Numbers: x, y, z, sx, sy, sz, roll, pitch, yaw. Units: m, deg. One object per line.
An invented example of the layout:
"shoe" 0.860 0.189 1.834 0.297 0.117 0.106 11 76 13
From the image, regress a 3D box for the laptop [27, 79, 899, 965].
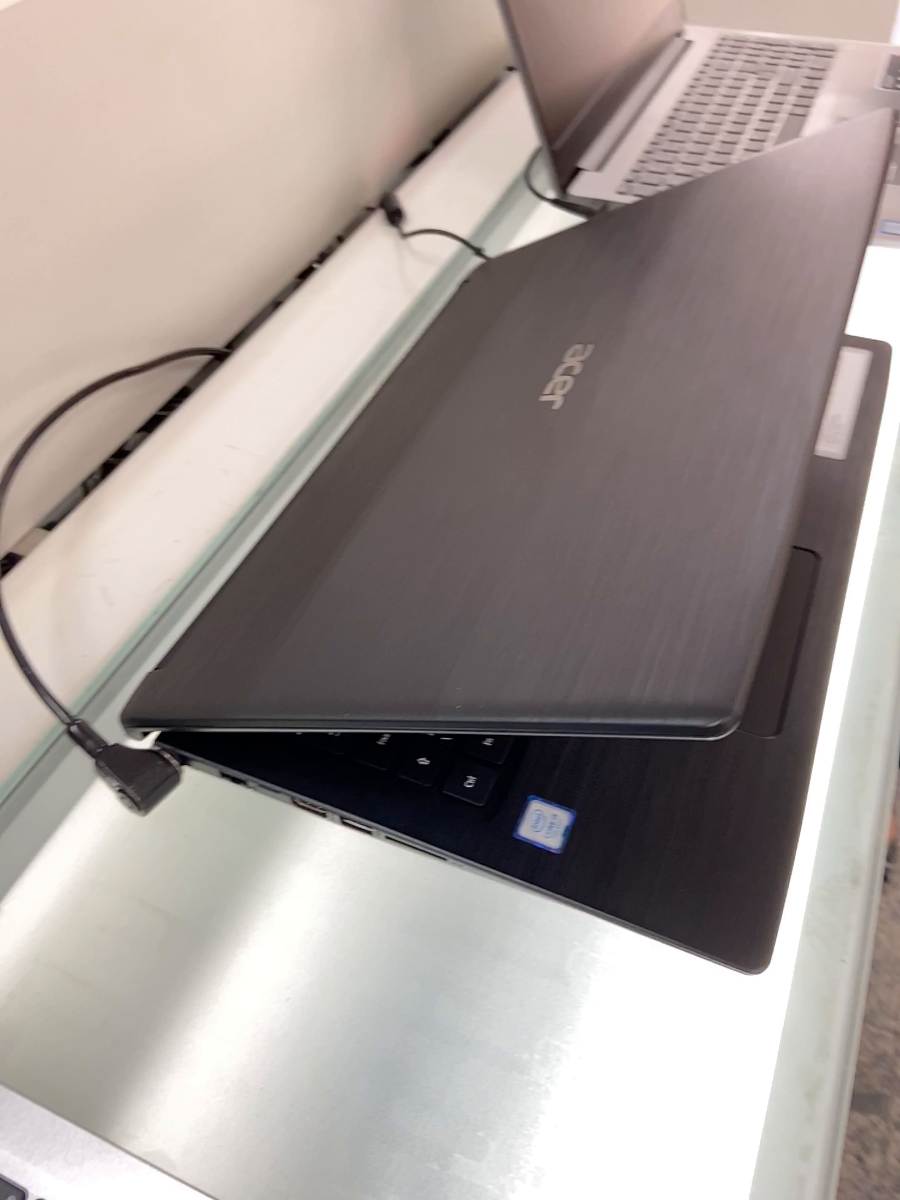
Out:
"laptop" 0.057 -0.086 0.407 0.236 0.118 0.382 15 50 18
